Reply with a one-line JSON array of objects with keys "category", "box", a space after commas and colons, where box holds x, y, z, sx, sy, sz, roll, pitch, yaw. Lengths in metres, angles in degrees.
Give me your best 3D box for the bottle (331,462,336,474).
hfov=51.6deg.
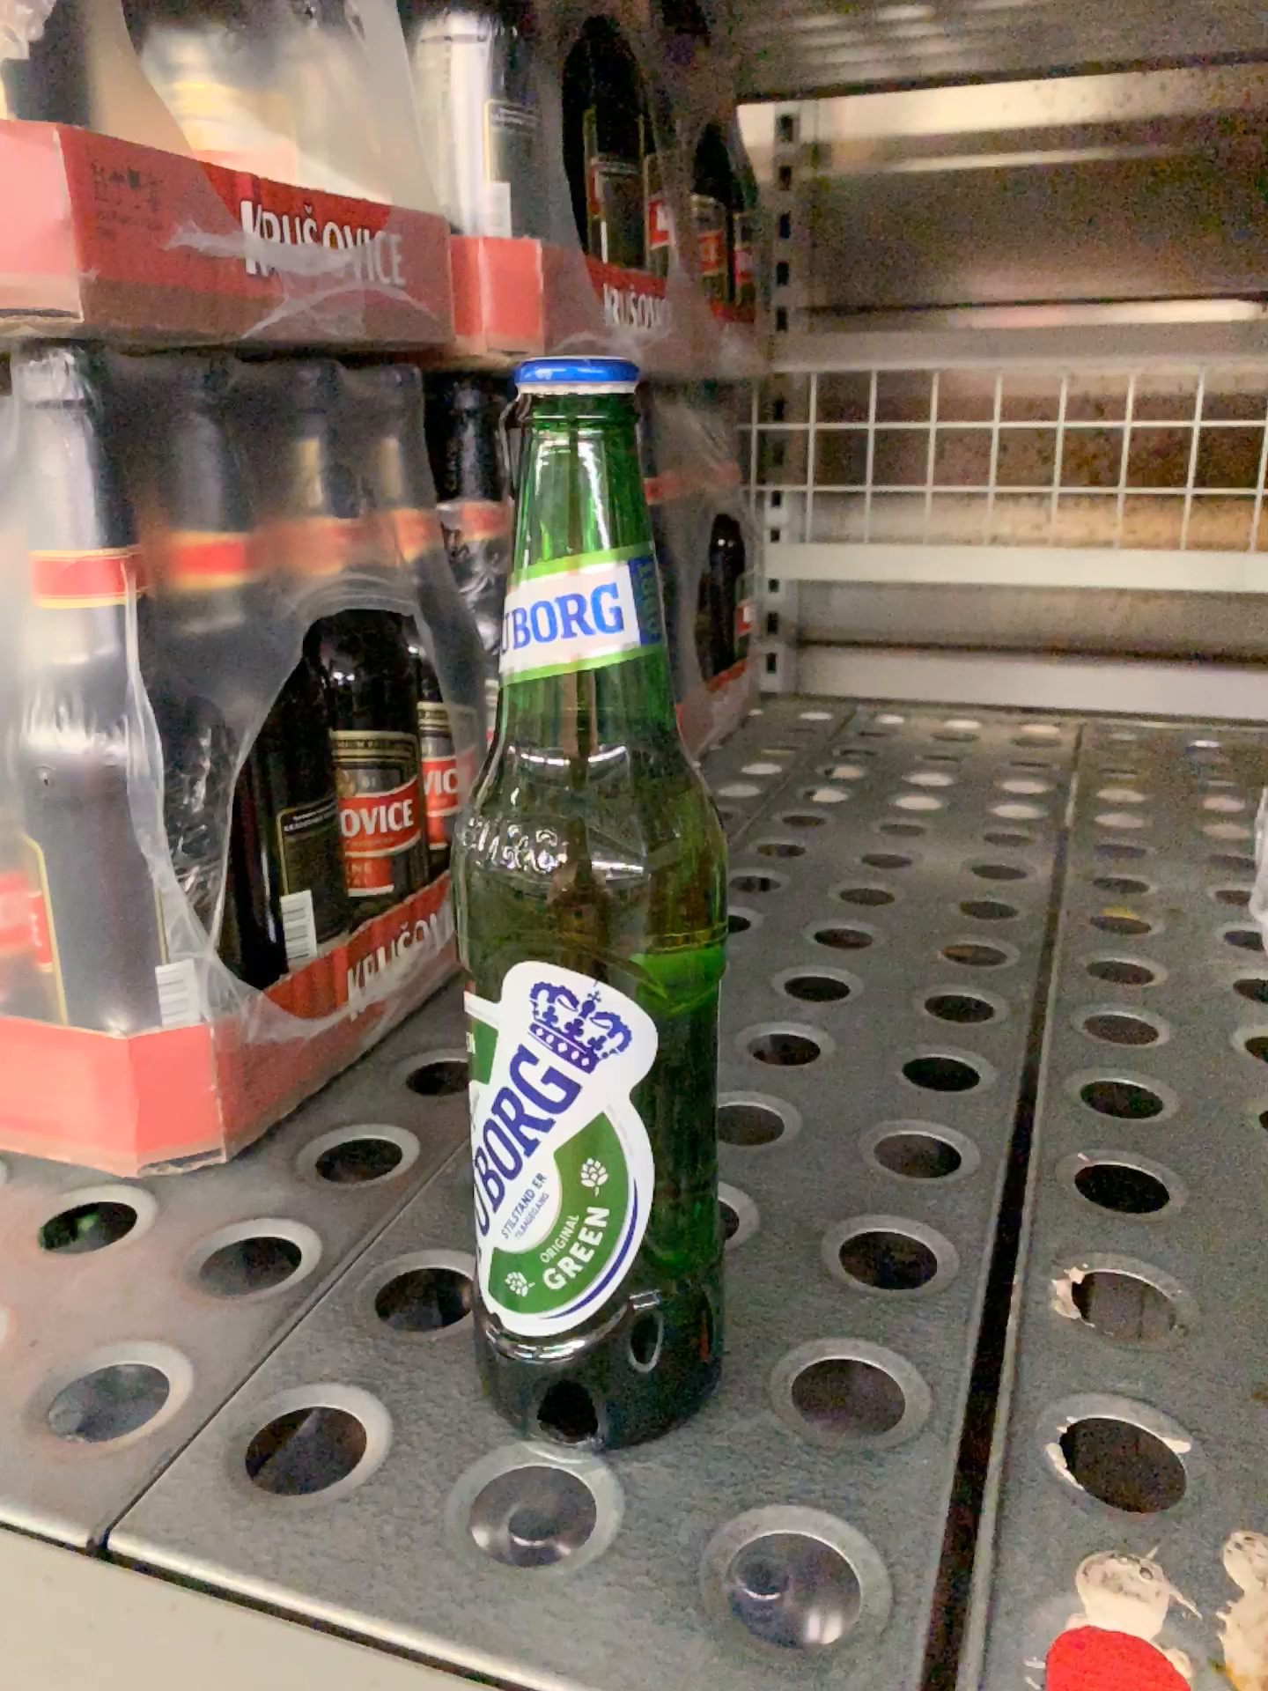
[{"category": "bottle", "box": [-4.239, -5.329, 18.494, 0.052, 0.169, 0.050, 0, 17, 0]}]
